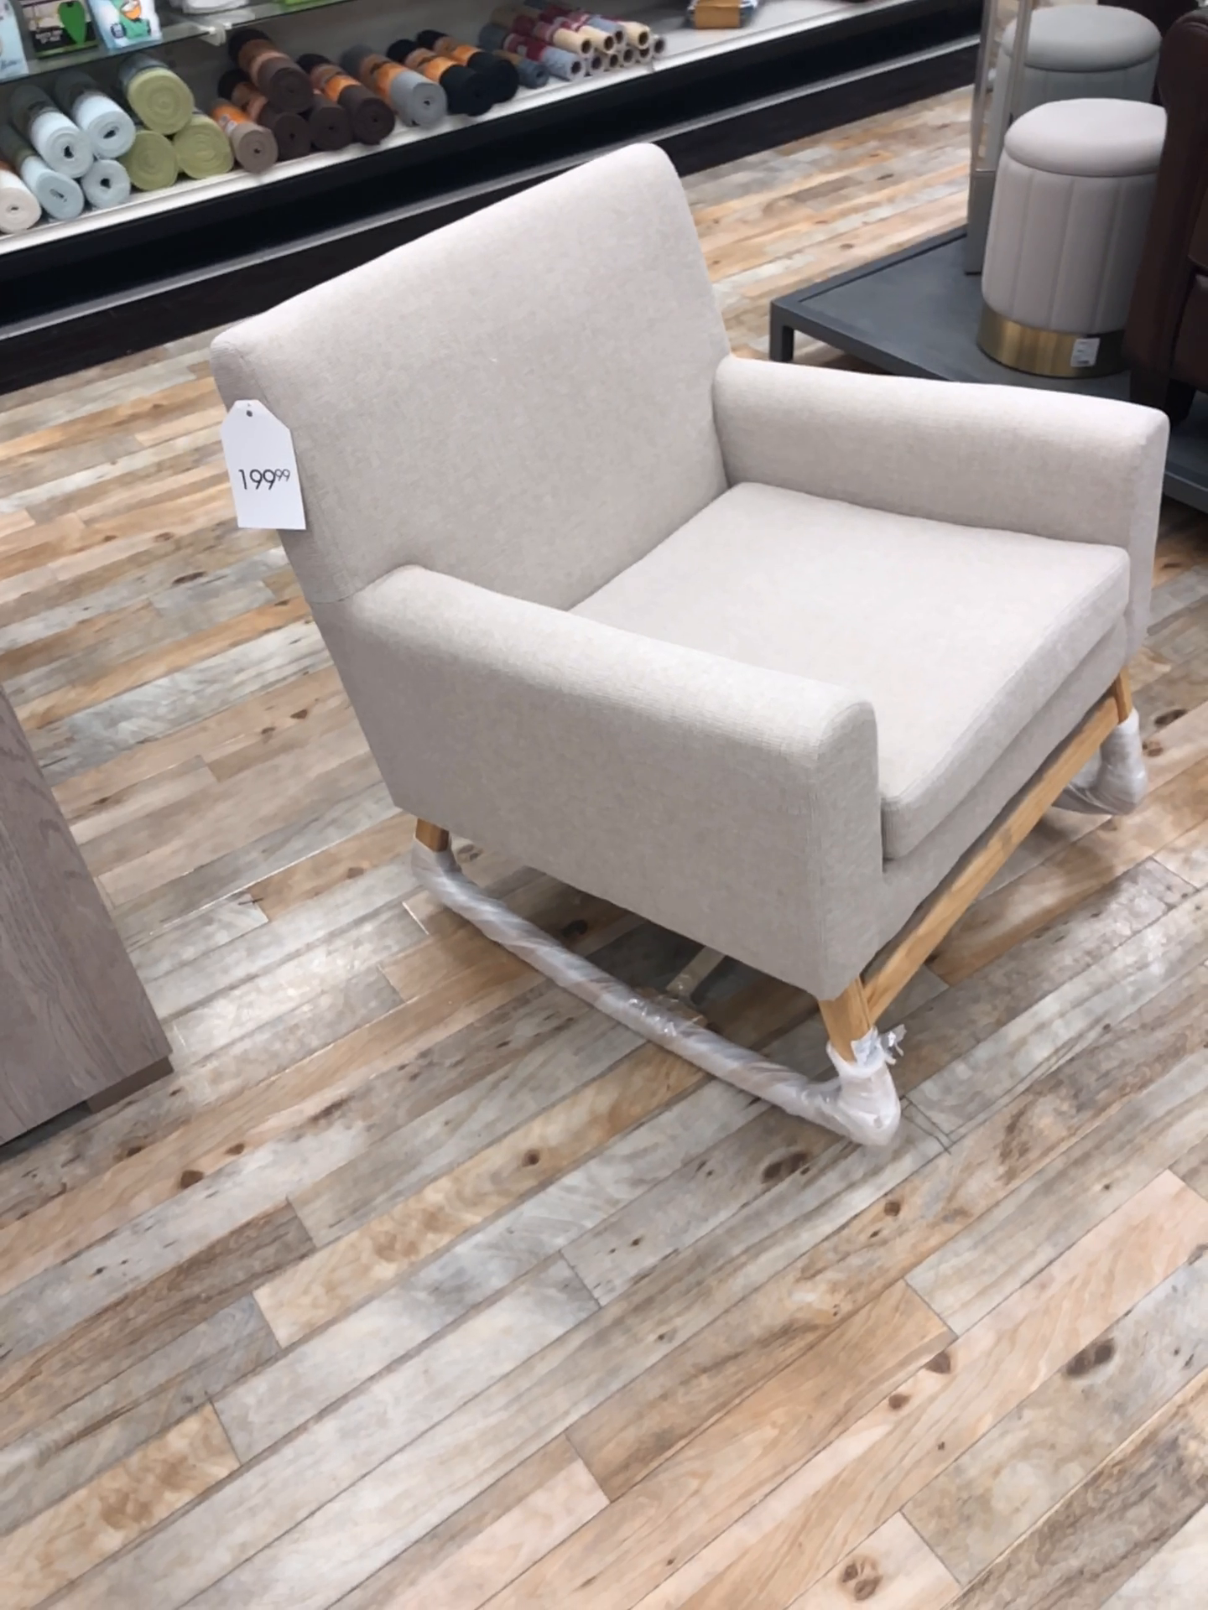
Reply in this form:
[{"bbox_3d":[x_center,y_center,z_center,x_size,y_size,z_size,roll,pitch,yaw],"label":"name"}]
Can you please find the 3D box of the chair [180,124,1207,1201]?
[{"bbox_3d":[0.143,-0.211,1.454,0.741,0.707,0.701,28,52,31],"label":"chair"}]
